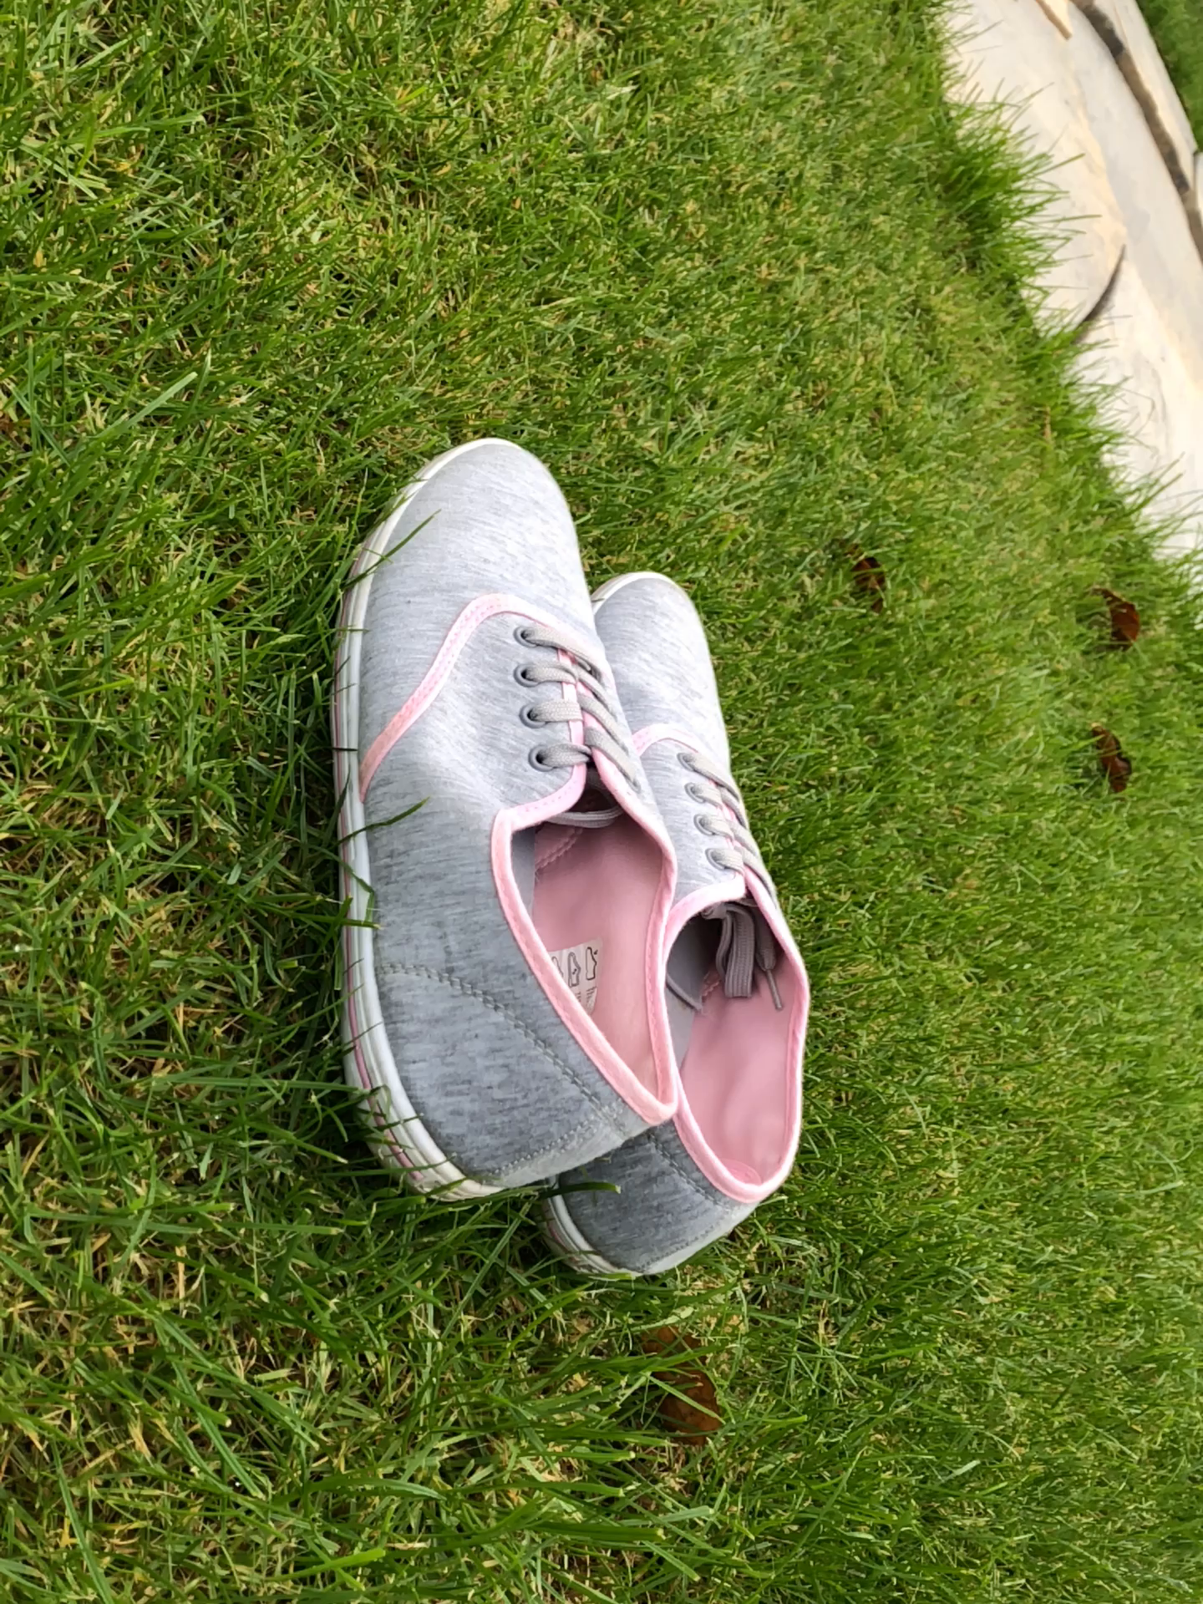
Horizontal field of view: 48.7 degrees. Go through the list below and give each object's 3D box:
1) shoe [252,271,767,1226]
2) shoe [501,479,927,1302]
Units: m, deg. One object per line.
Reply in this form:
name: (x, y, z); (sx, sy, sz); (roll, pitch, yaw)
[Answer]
shoe: (-0.017, -0.017, 0.407); (0.100, 0.089, 0.261); (30, 52, -42)
shoe: (0.042, 0.031, 0.472); (0.100, 0.089, 0.261); (30, 52, -42)
